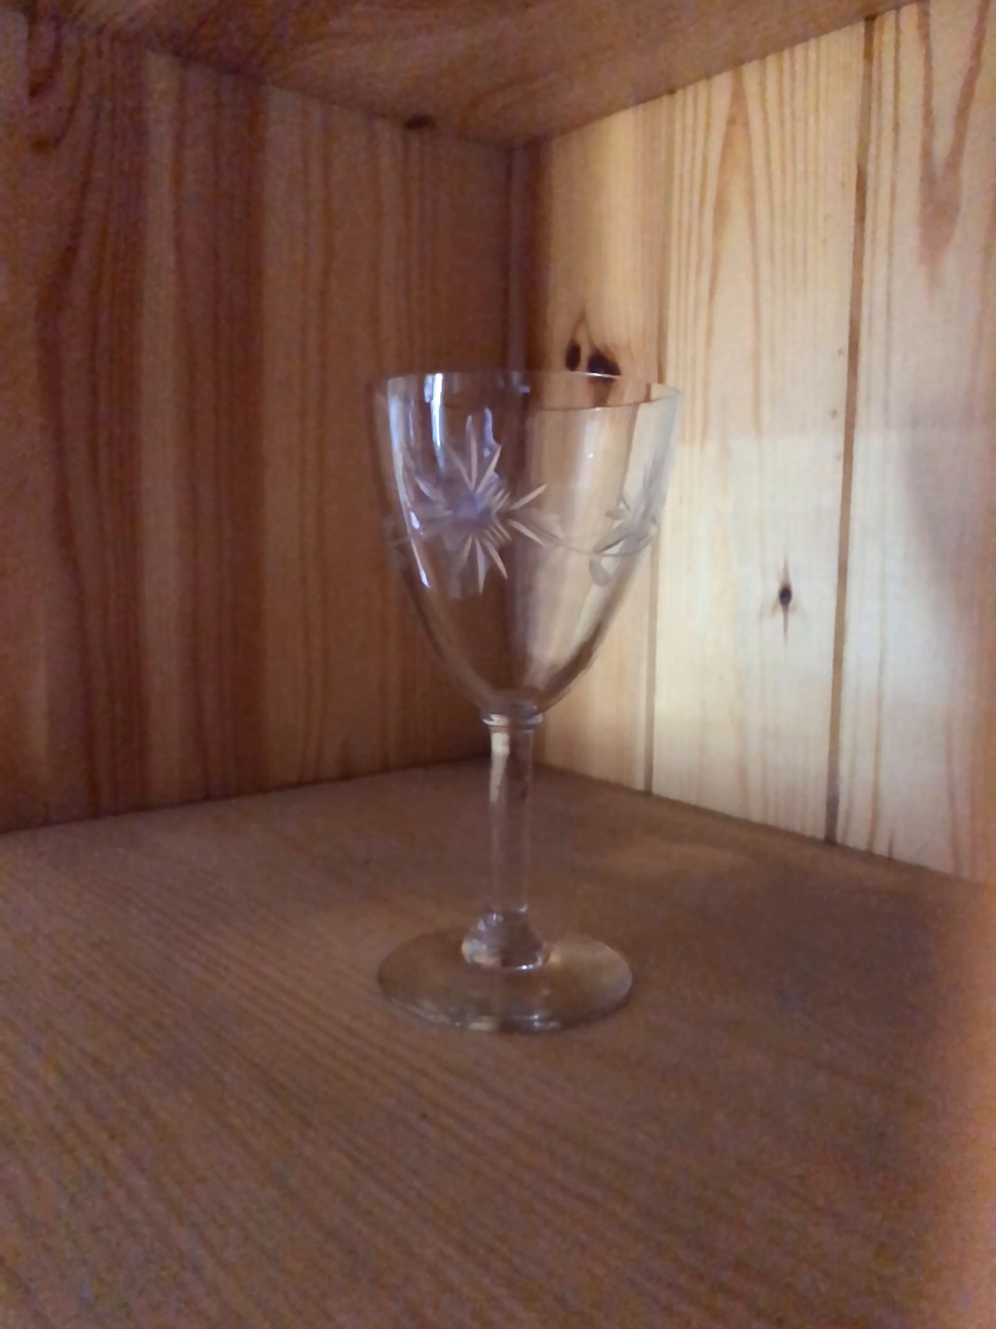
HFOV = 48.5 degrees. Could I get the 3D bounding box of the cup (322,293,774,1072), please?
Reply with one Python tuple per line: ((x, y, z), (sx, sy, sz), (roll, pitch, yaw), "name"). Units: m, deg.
((0.006, 0.000, 0.243), (0.070, 0.140, 0.070), (1, 7, 0), "cup")
